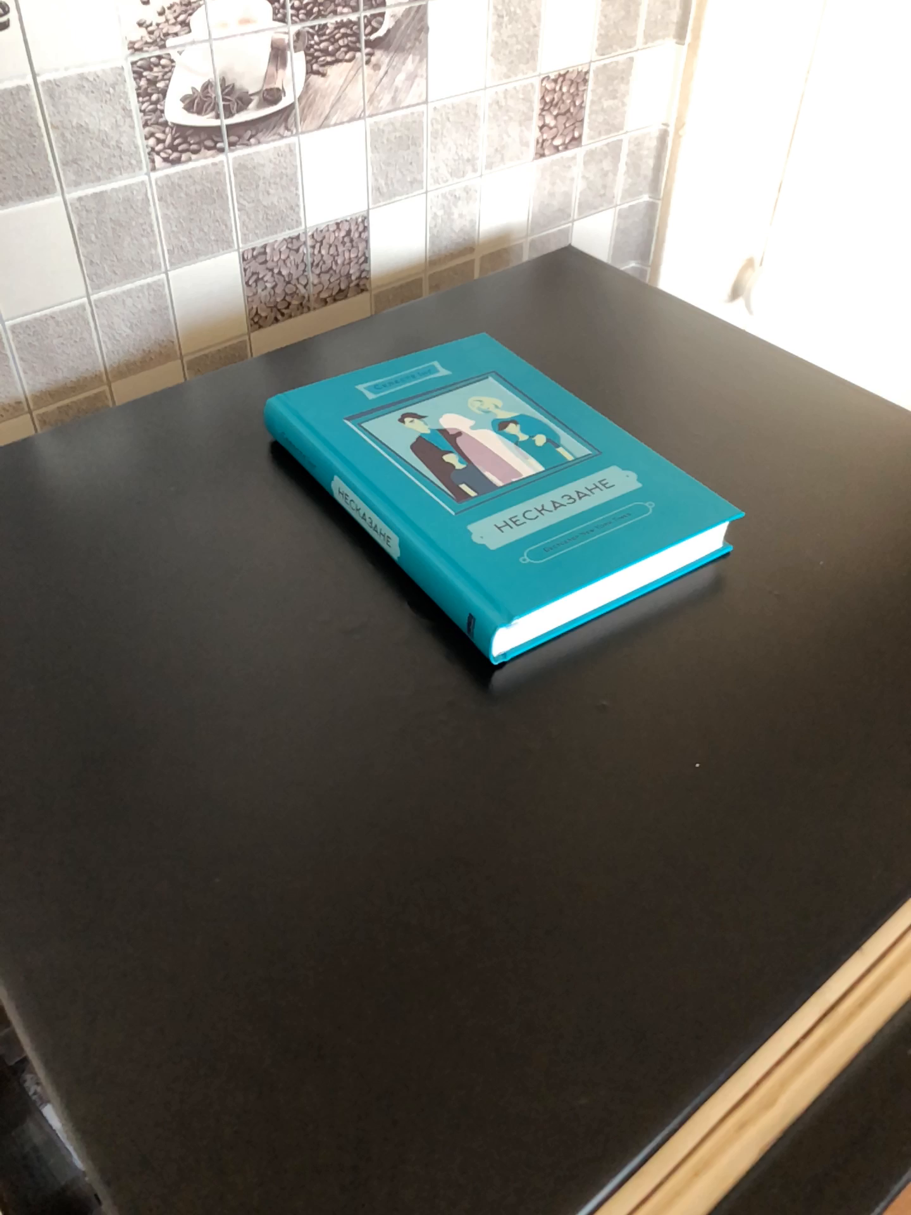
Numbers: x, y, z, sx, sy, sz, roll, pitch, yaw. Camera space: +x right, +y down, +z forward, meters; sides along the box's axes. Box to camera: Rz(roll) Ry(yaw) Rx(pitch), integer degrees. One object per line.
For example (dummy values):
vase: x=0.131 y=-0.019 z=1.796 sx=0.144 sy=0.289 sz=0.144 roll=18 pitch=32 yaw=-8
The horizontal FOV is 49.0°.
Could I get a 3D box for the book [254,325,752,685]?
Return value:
book: x=0.016 y=-0.067 z=0.504 sx=0.150 sy=0.030 sz=0.211 roll=-24 pitch=49 yaw=-26
